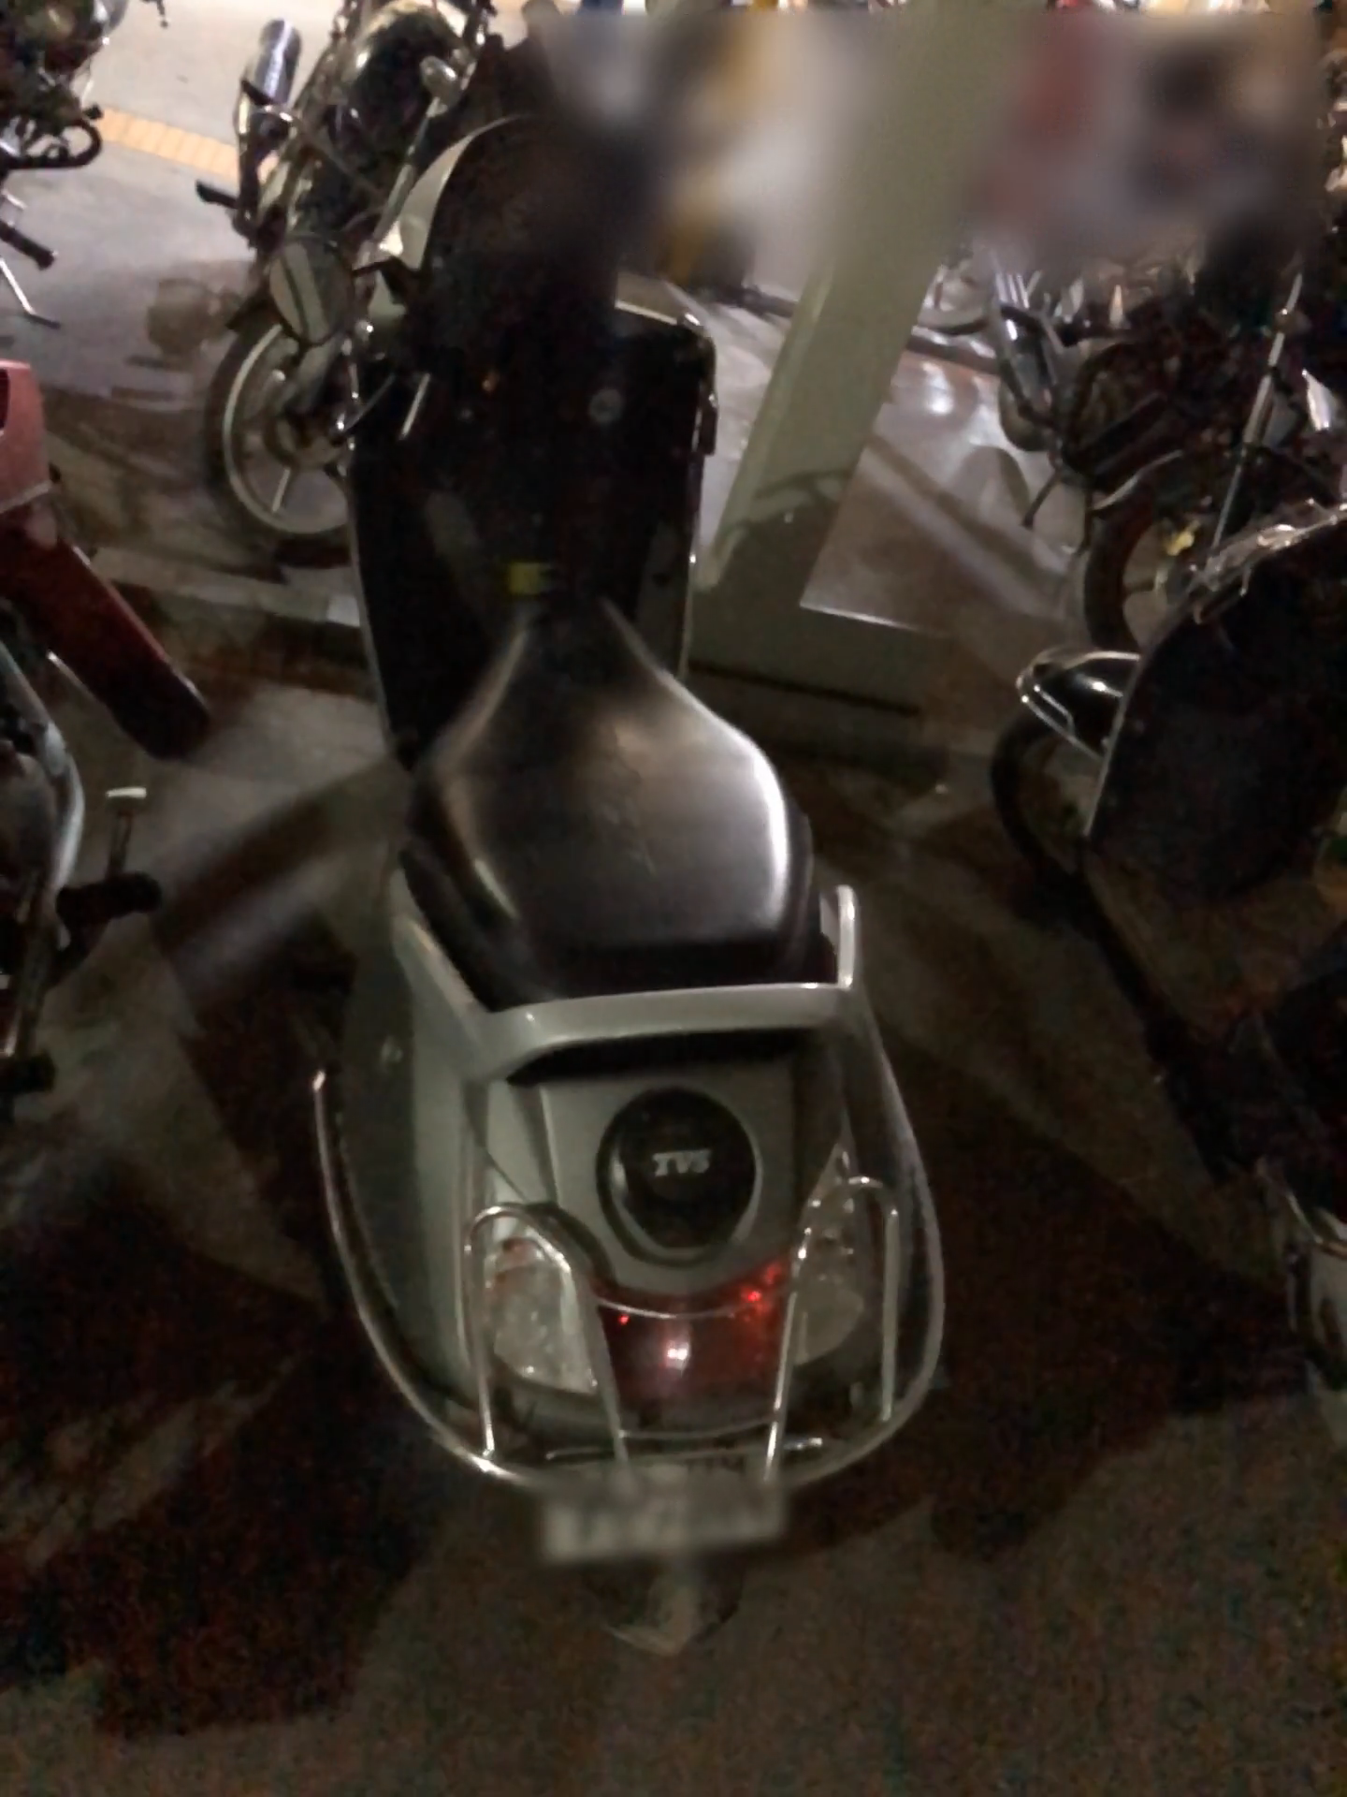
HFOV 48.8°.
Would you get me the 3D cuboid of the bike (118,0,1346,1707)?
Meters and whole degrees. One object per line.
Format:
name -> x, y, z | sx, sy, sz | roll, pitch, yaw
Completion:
bike -> -0.165, -0.122, 1.587 | 0.602, 1.094, 1.387 | 7, 40, -19
